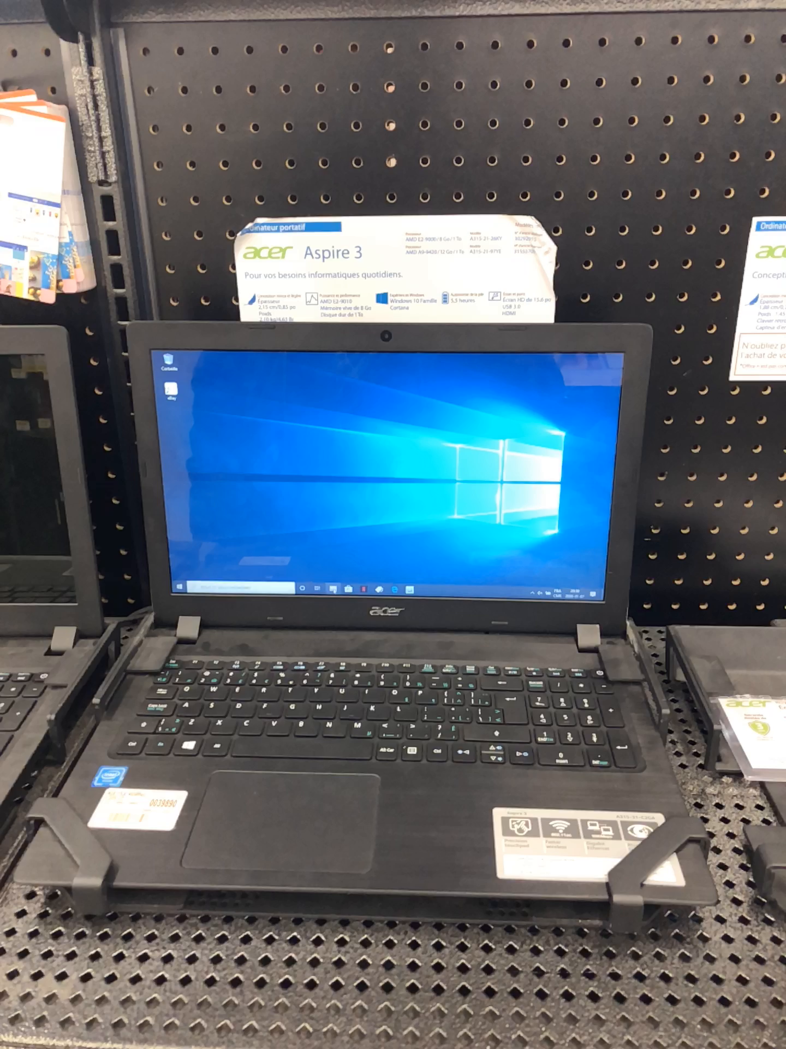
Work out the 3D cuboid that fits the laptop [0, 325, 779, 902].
[{"bbox_3d":[-0.016,0.026,0.563,0.386,0.247,0.296,1,24,4],"label":"laptop"}]
